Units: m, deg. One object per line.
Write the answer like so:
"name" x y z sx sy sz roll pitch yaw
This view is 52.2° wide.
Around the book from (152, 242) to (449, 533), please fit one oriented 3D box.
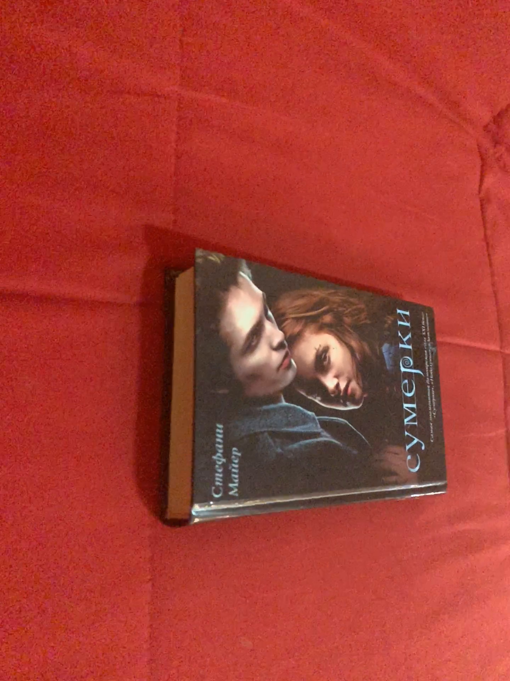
"book" 0.043 0.032 0.319 0.210 0.036 0.134 8 79 -38
